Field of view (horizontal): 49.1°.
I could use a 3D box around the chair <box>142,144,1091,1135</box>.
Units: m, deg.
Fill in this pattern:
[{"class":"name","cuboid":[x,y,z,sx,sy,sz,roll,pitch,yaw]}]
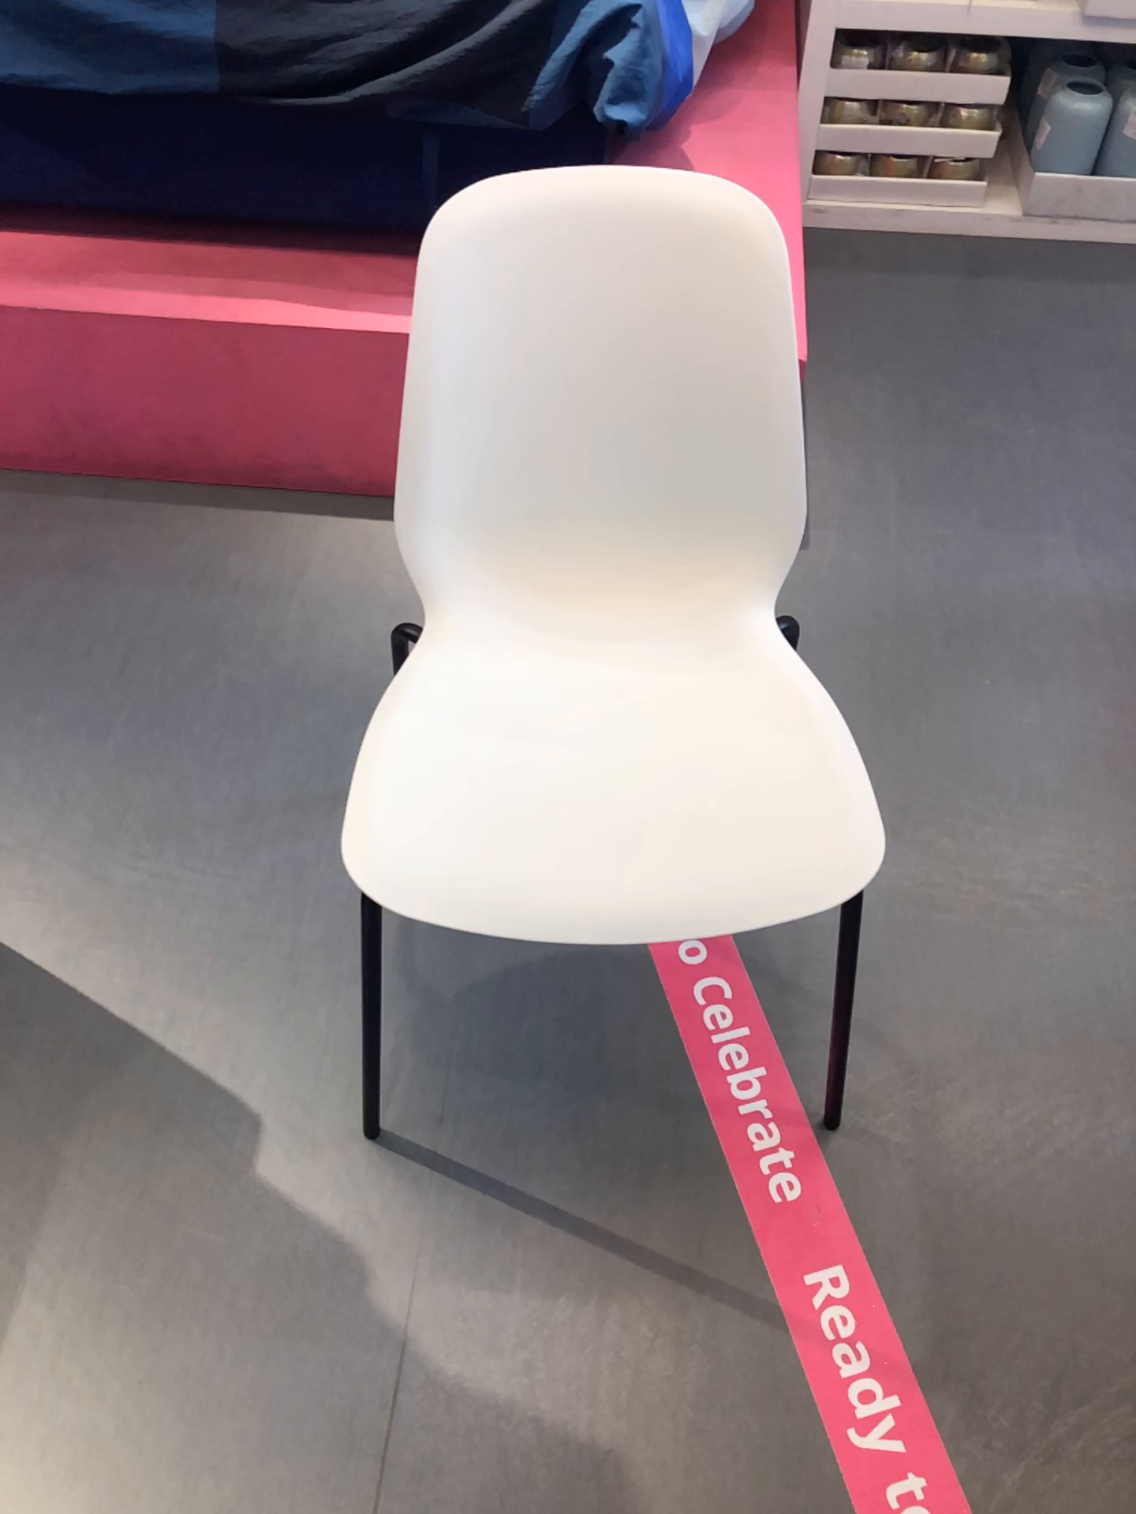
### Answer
[{"class":"chair","cuboid":[0.017,-0.053,1.117,0.510,0.756,0.493,-1,51,-2]}]
